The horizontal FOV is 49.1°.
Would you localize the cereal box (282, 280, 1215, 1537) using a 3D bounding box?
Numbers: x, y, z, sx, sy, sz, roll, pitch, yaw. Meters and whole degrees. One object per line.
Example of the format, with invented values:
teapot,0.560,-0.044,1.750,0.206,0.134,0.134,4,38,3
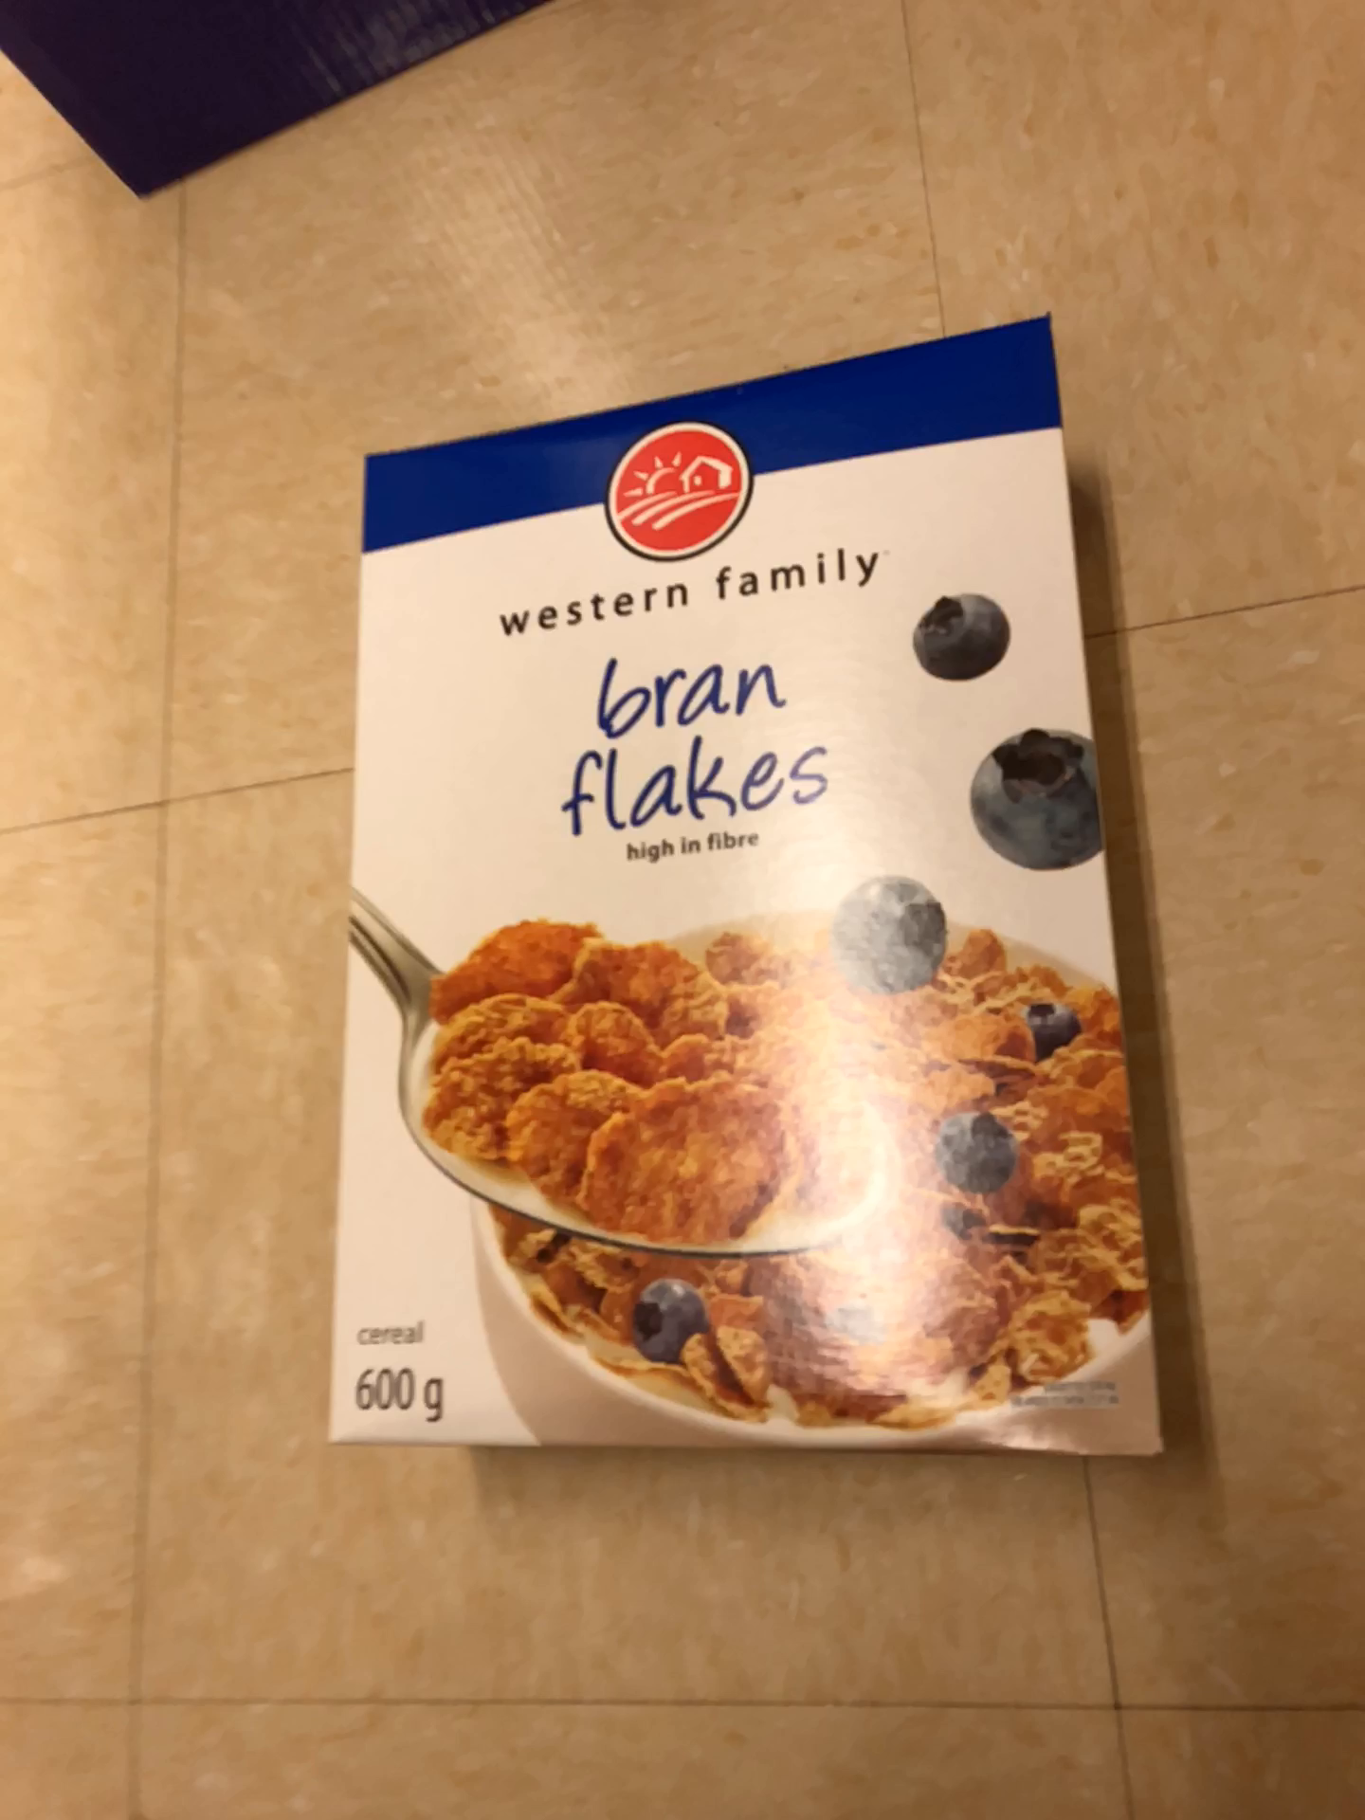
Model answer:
cereal box,0.015,0.005,0.419,0.221,0.090,0.300,-6,75,17
